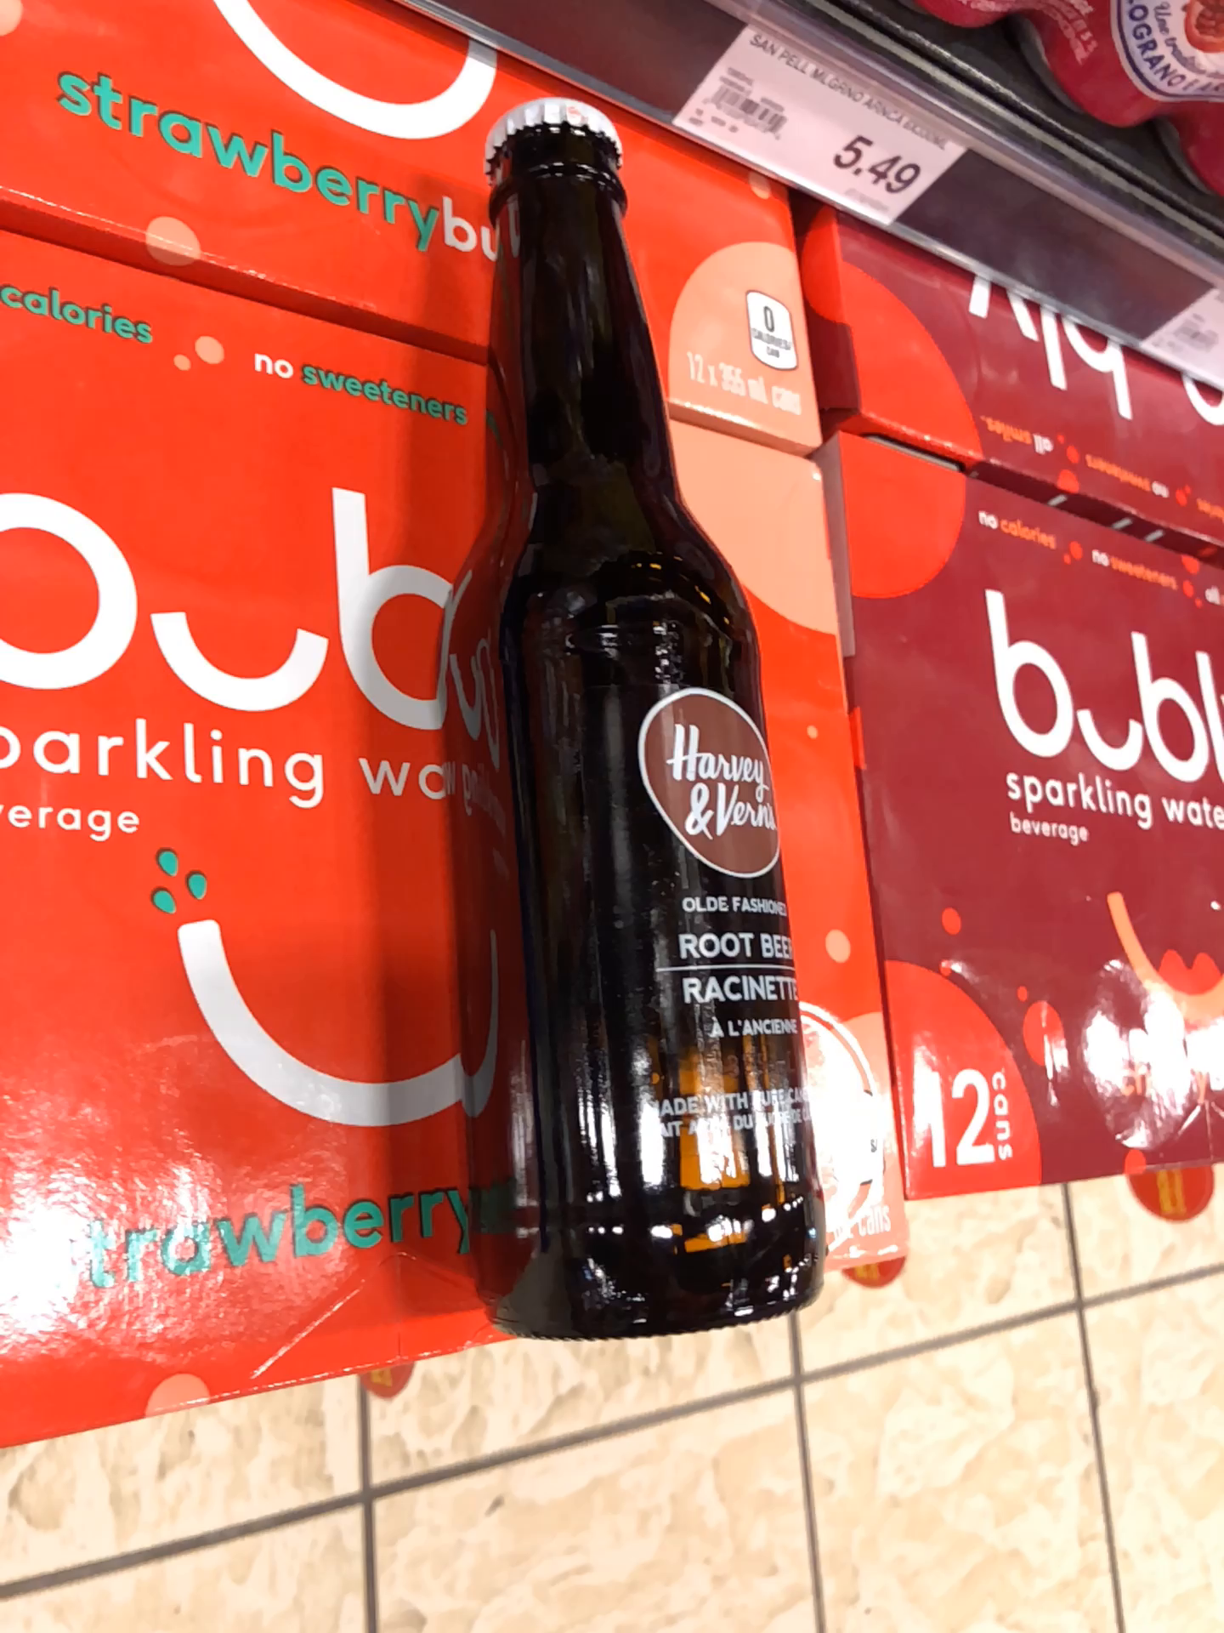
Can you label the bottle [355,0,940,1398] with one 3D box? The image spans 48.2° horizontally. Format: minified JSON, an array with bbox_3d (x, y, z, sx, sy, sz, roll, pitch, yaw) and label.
[{"bbox_3d":[0.000,-0.027,0.249,0.060,0.070,0.230,4,77,-37],"label":"bottle"}]
